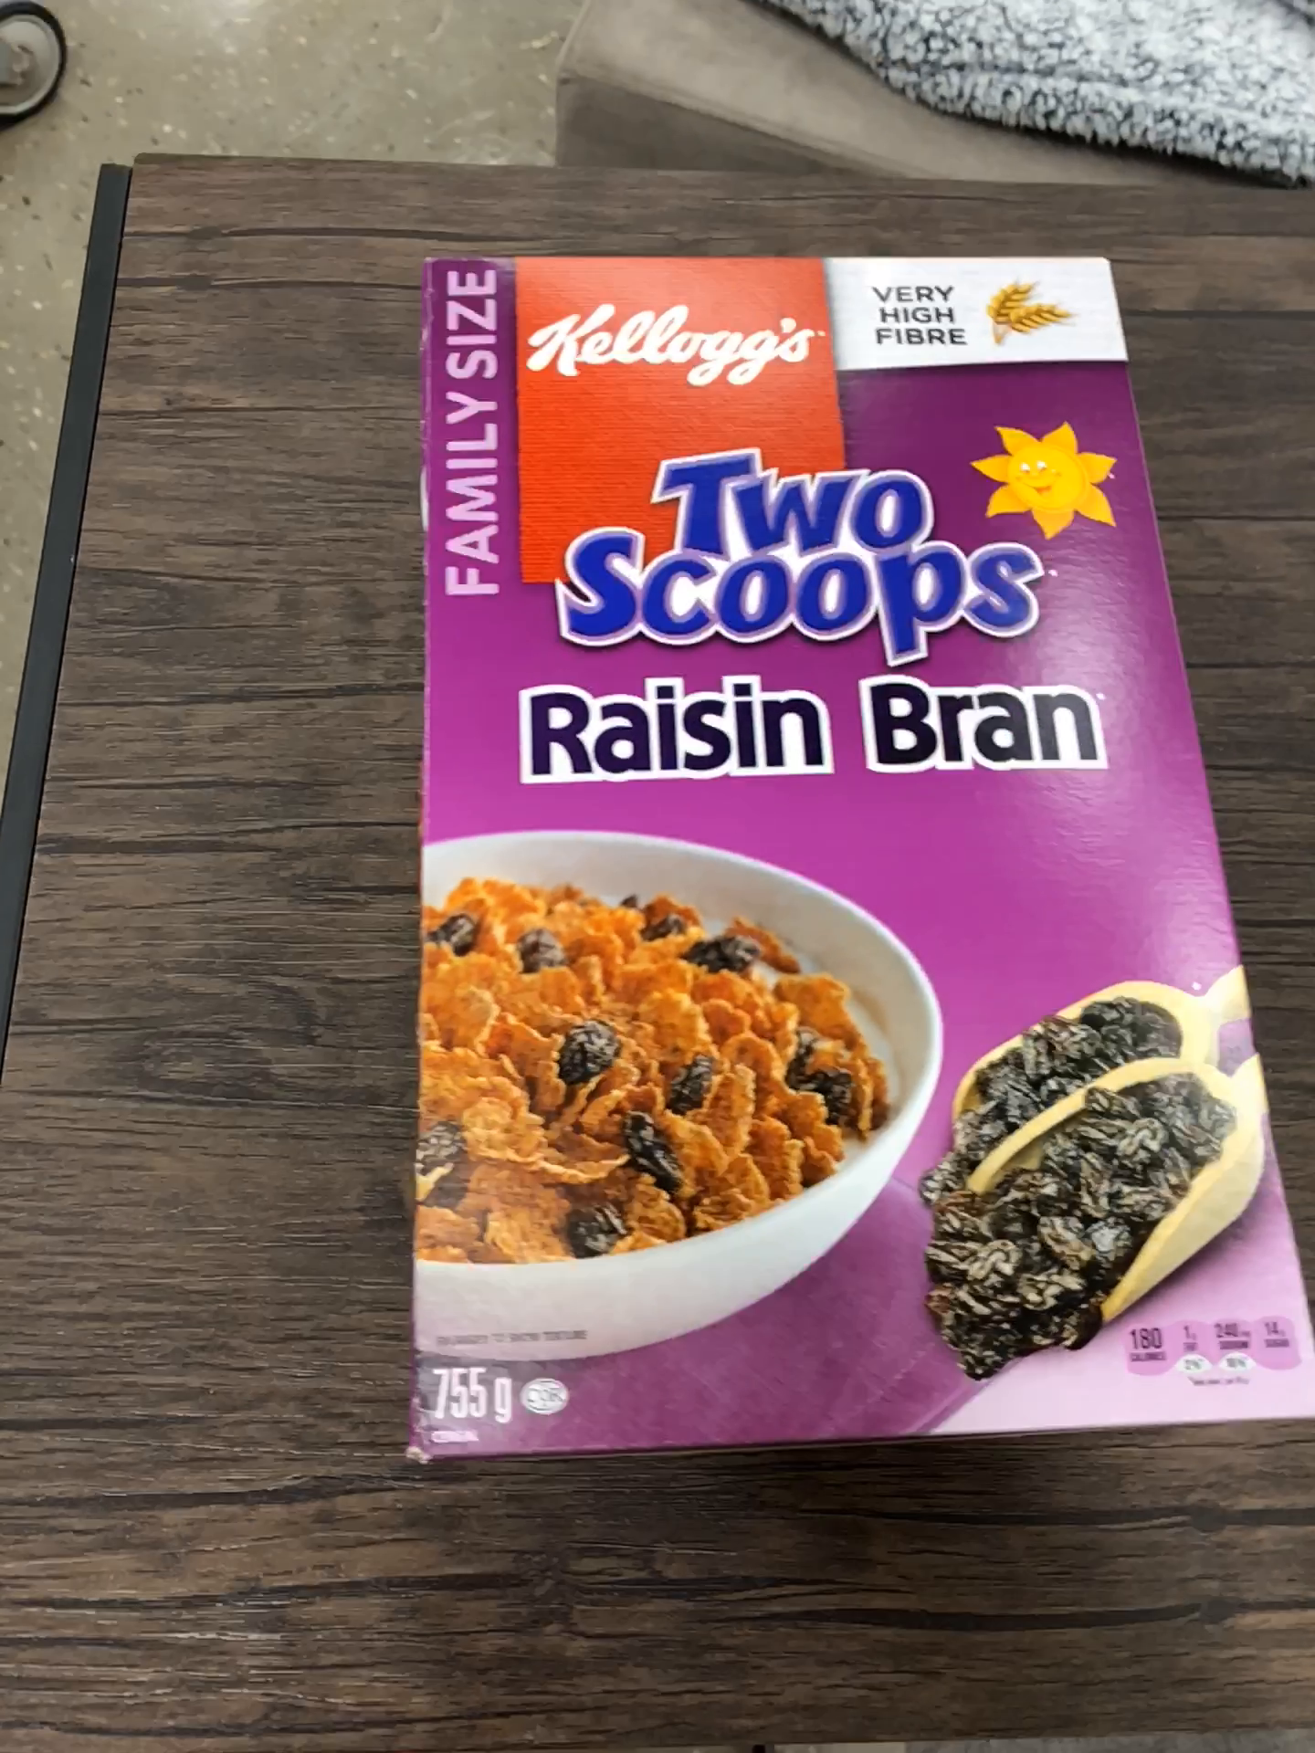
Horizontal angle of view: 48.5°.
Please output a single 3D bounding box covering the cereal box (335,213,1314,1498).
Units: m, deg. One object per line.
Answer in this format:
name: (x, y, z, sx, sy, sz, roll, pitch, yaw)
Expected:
cereal box: (0.032, -0.018, 0.385, 0.210, 0.080, 0.320, -1, 71, -3)
